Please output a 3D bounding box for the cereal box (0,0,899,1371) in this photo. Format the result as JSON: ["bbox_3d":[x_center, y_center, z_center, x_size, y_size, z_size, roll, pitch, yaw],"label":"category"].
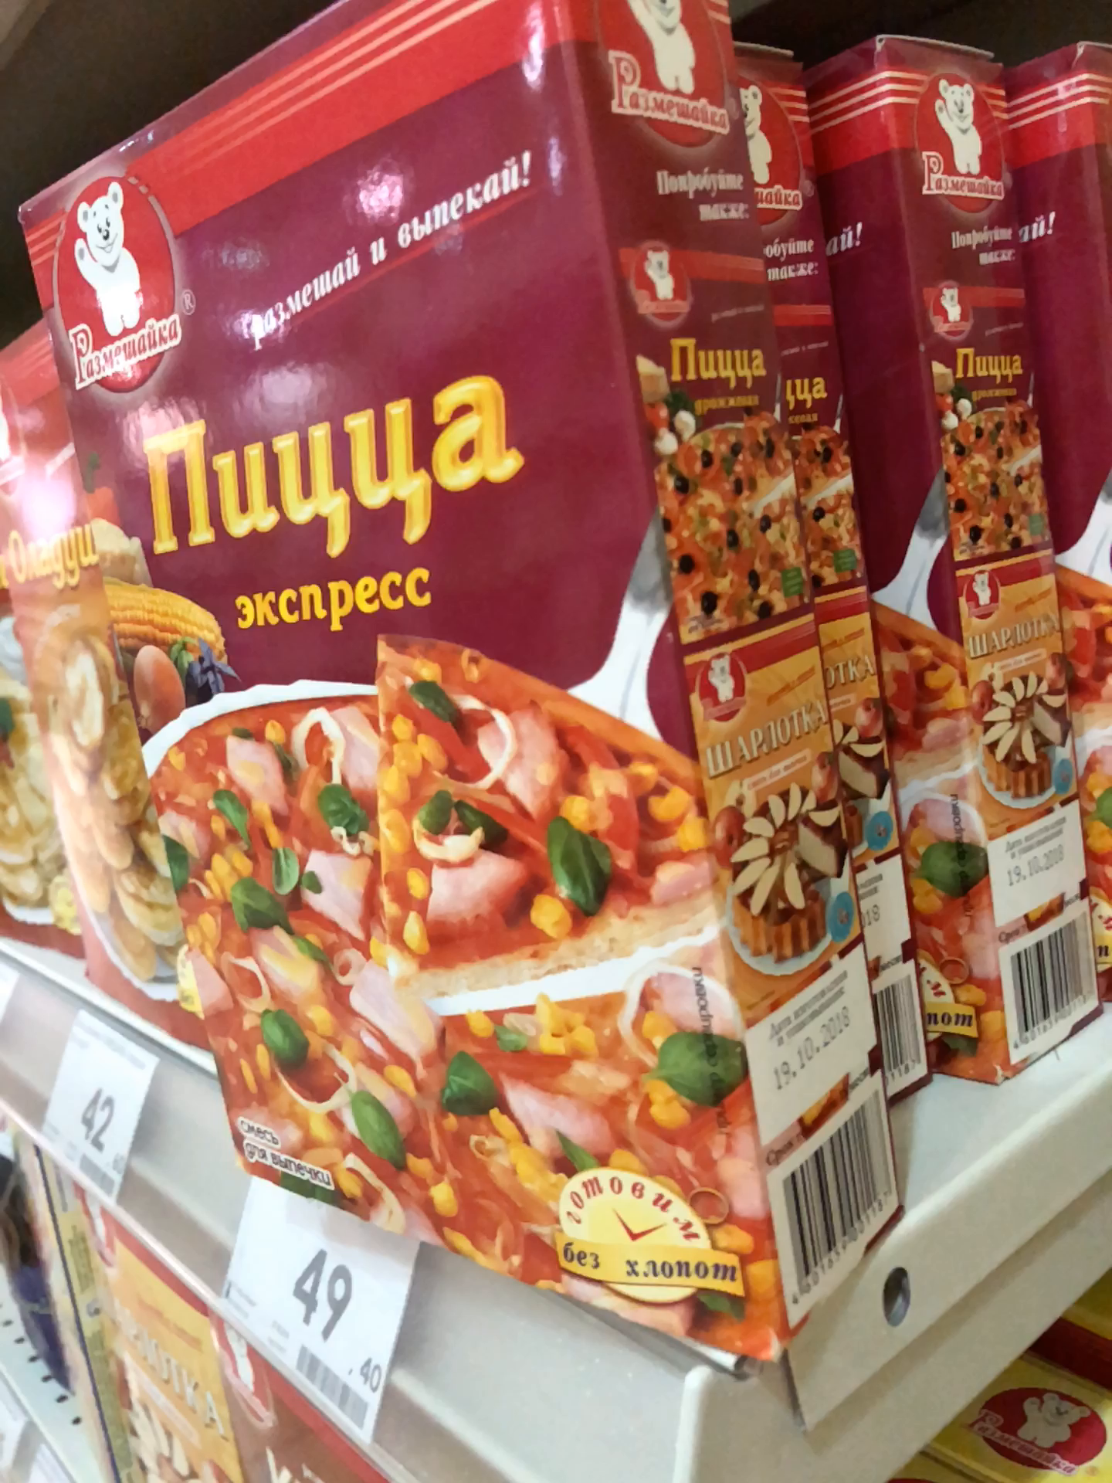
[{"bbox_3d":[-0.028,-0.015,0.207,0.140,0.190,0.040,-2,11,42],"label":"cereal box"}]
